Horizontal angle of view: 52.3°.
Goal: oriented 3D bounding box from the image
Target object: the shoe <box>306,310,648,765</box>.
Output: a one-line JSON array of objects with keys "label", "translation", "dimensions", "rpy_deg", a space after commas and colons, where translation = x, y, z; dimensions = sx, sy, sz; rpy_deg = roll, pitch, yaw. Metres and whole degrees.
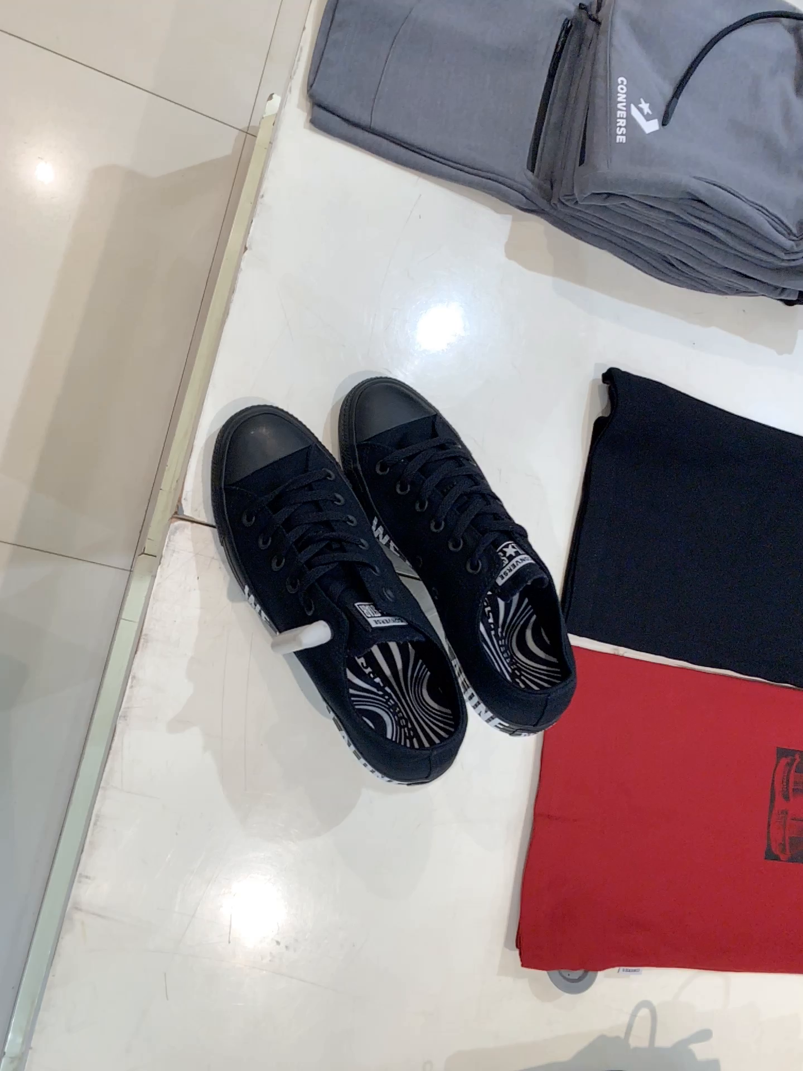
[{"label": "shoe", "translation": [0.037, -0.002, 0.568], "dimensions": [0.090, 0.100, 0.290], "rpy_deg": [-24, 71, -14]}]

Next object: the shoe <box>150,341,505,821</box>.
[{"label": "shoe", "translation": [-0.056, 0.024, 0.518], "dimensions": [0.100, 0.100, 0.270], "rpy_deg": [-22, 69, -18]}]
